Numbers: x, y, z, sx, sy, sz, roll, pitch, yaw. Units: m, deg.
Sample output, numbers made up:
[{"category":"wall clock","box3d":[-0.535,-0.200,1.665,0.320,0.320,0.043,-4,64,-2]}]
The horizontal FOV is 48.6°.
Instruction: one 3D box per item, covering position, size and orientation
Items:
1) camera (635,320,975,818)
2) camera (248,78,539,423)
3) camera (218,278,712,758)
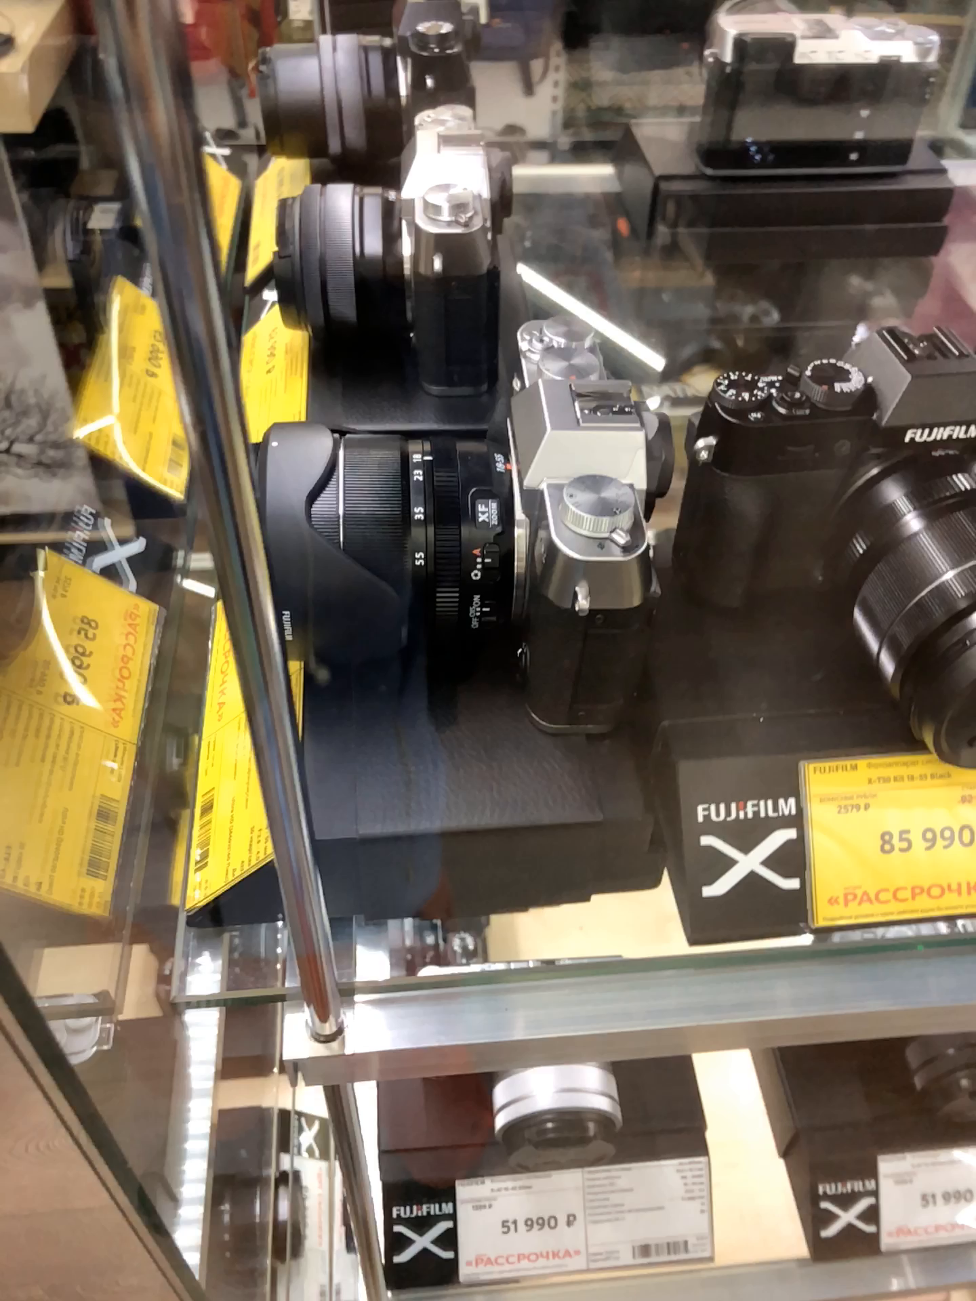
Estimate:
[{"category":"camera","box3d":[0.135,-0.030,0.338,0.144,0.088,0.123,-3,46,-6]},{"category":"camera","box3d":[-0.040,-0.175,0.466,0.104,0.088,0.136,-2,46,-5]},{"category":"camera","box3d":[-0.011,-0.045,0.337,0.120,0.088,0.121,-2,46,-5]}]
